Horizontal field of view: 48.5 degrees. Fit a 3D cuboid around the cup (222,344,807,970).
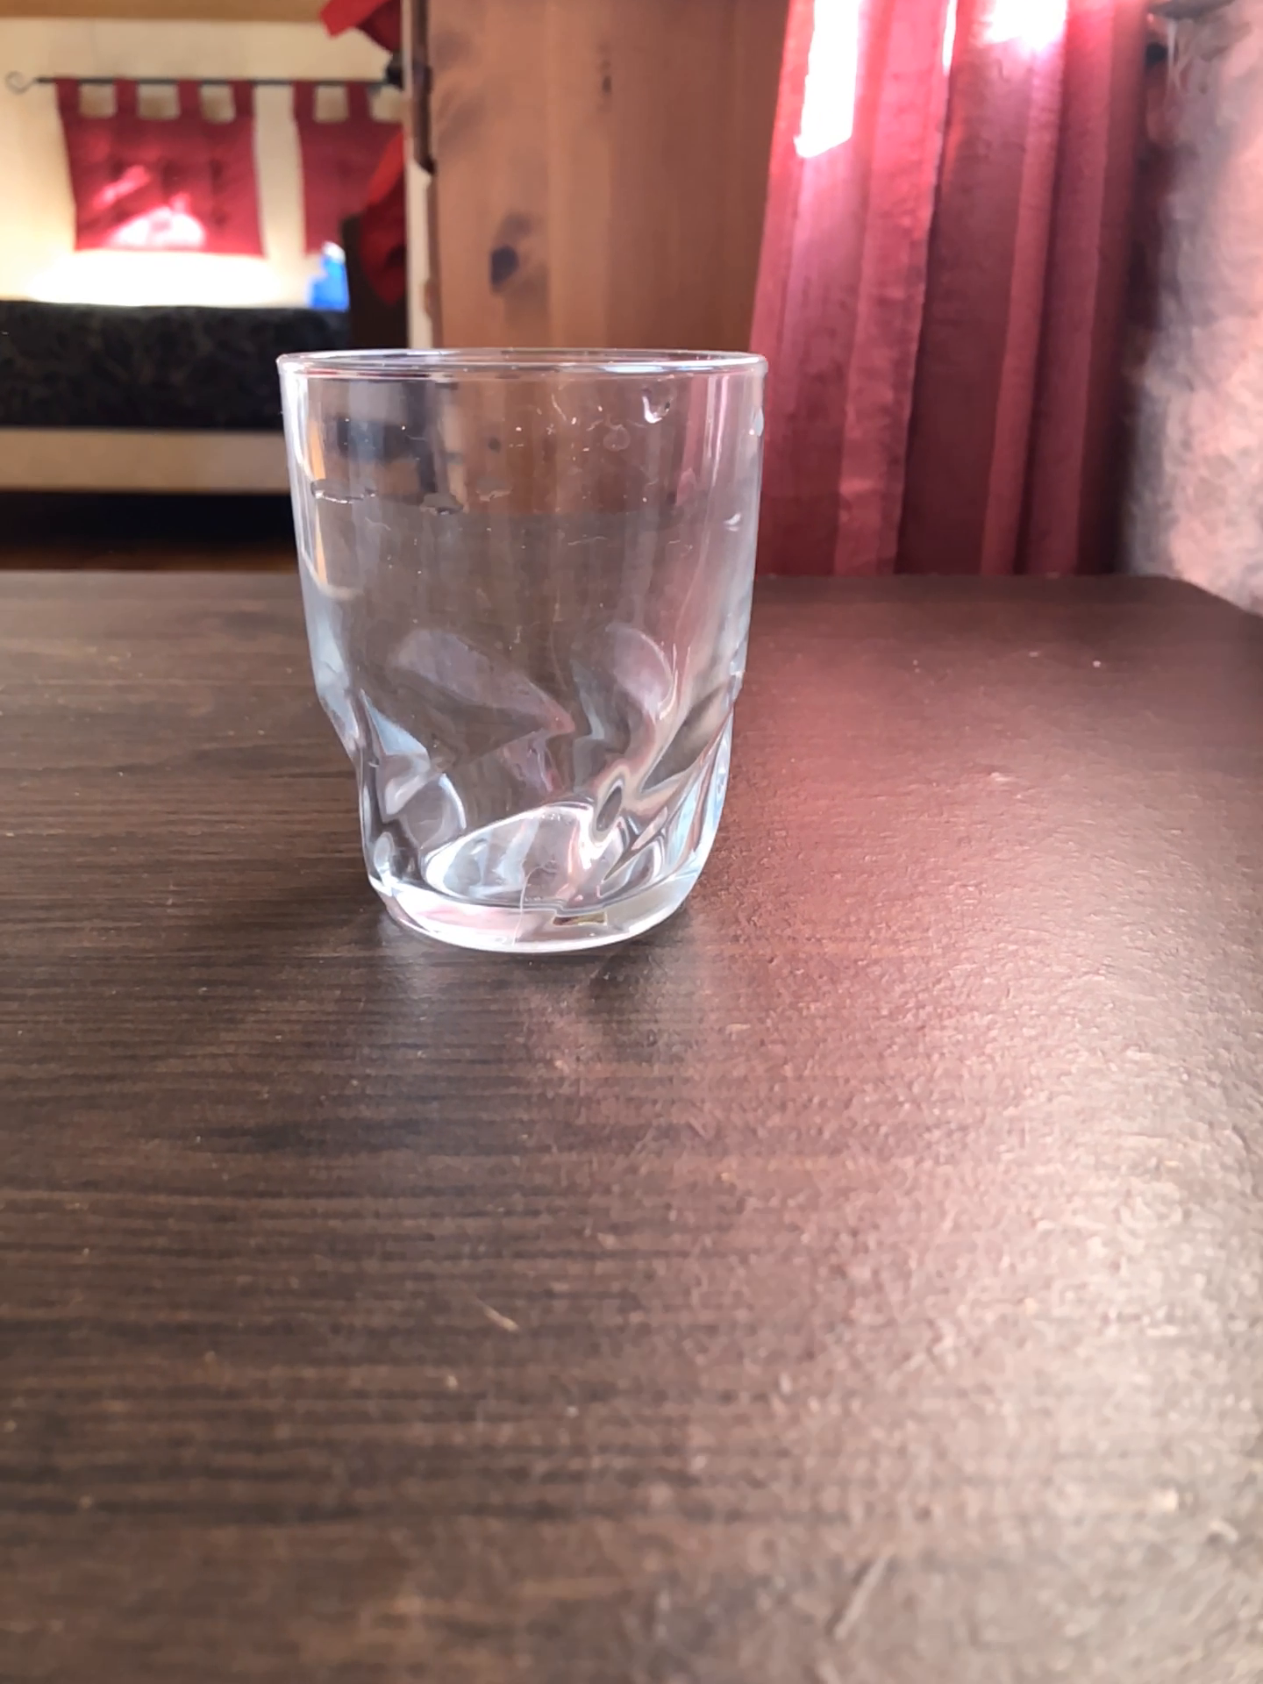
[{"bbox_3d":[-0.015,-0.035,0.230,0.075,0.085,0.078,1,20,0],"label":"cup"}]
